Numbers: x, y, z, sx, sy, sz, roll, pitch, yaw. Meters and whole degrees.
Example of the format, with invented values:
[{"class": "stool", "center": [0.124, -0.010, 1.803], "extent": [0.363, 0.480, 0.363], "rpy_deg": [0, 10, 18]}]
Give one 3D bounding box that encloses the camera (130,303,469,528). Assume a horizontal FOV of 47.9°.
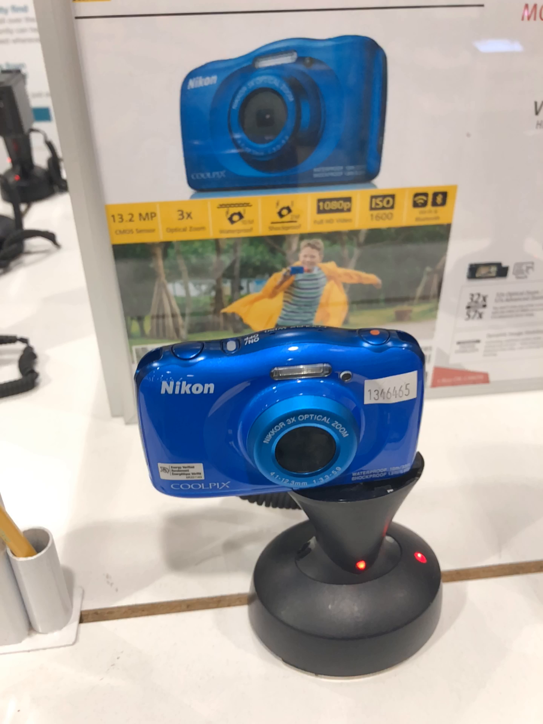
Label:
[{"class": "camera", "center": [0.008, 0.018, 0.227], "extent": [0.110, 0.060, 0.040], "rpy_deg": [-5, 33, -8]}]
